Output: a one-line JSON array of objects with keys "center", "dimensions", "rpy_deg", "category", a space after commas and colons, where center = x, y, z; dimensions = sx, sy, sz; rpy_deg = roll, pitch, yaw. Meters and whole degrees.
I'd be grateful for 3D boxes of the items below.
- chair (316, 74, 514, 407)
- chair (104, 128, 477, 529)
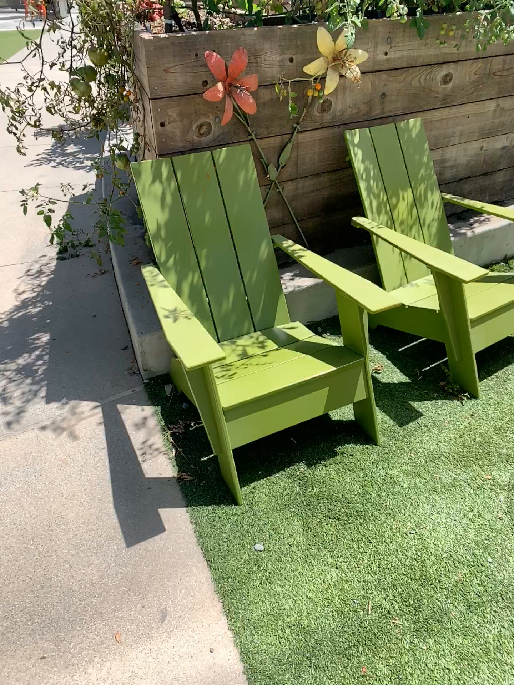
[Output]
[{"center": [0.834, -0.455, 2.189], "dimensions": [0.680, 0.985, 0.894], "rpy_deg": [-20, 24, -19], "category": "chair"}, {"center": [0.039, -0.149, 1.676], "dimensions": [0.680, 0.835, 0.905], "rpy_deg": [-17, 32, -21], "category": "chair"}]
